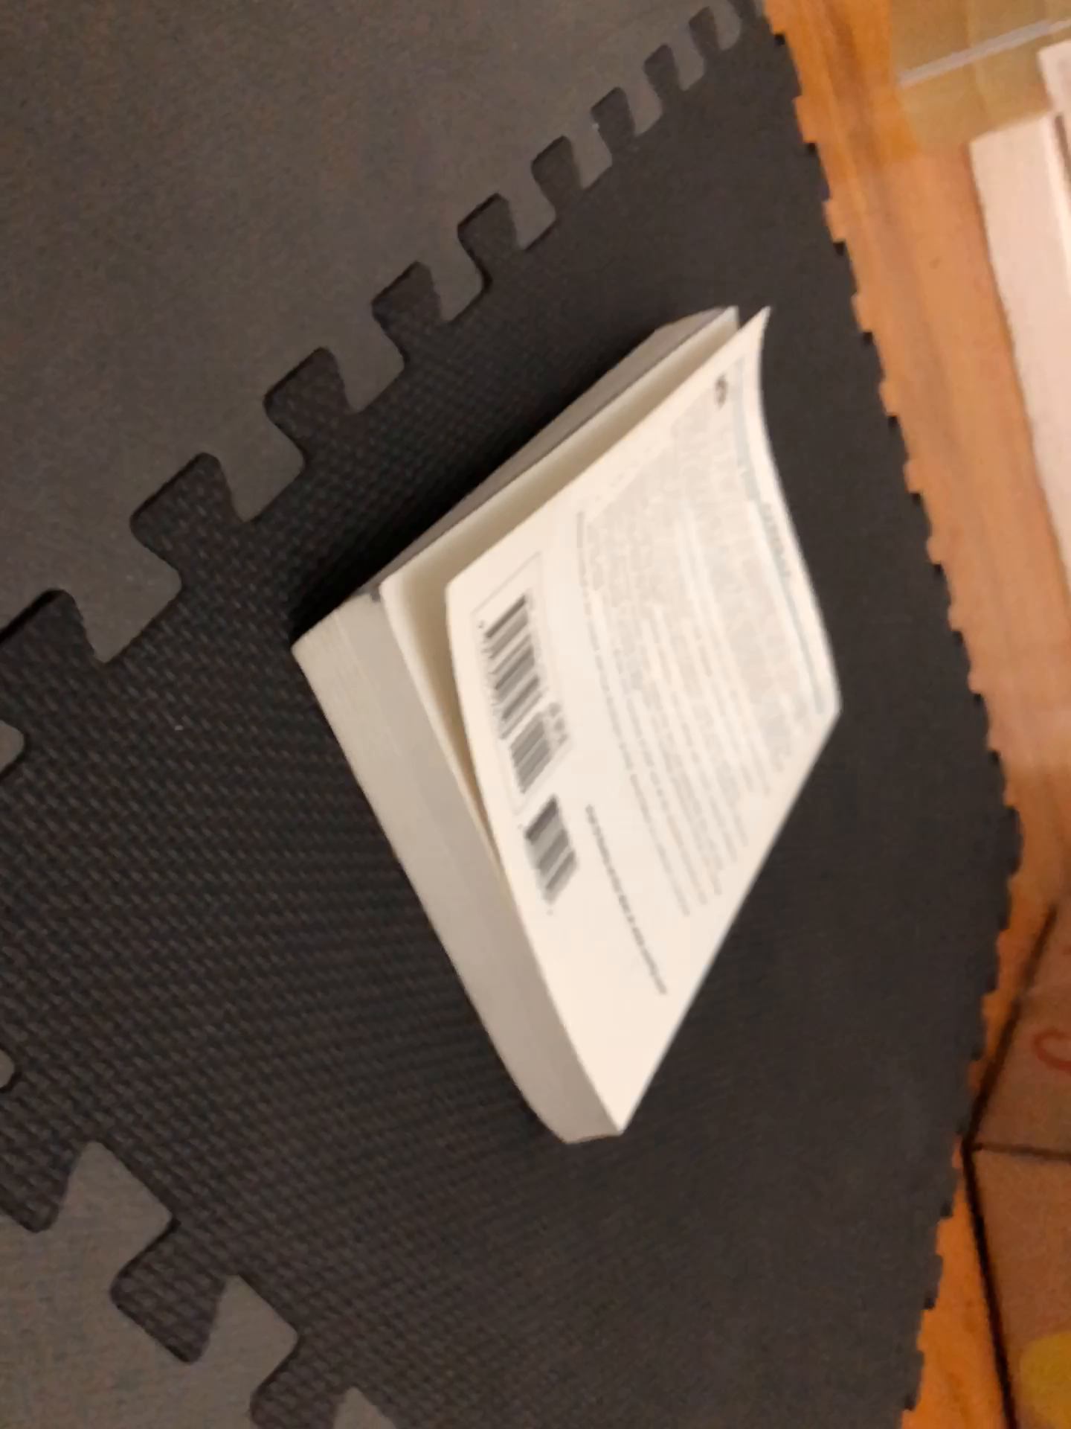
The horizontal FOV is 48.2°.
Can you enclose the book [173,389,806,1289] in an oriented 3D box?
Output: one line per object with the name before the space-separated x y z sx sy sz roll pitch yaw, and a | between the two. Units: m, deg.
book | 0.018 0.028 0.488 0.291 0.040 0.230 -47 124 -46
